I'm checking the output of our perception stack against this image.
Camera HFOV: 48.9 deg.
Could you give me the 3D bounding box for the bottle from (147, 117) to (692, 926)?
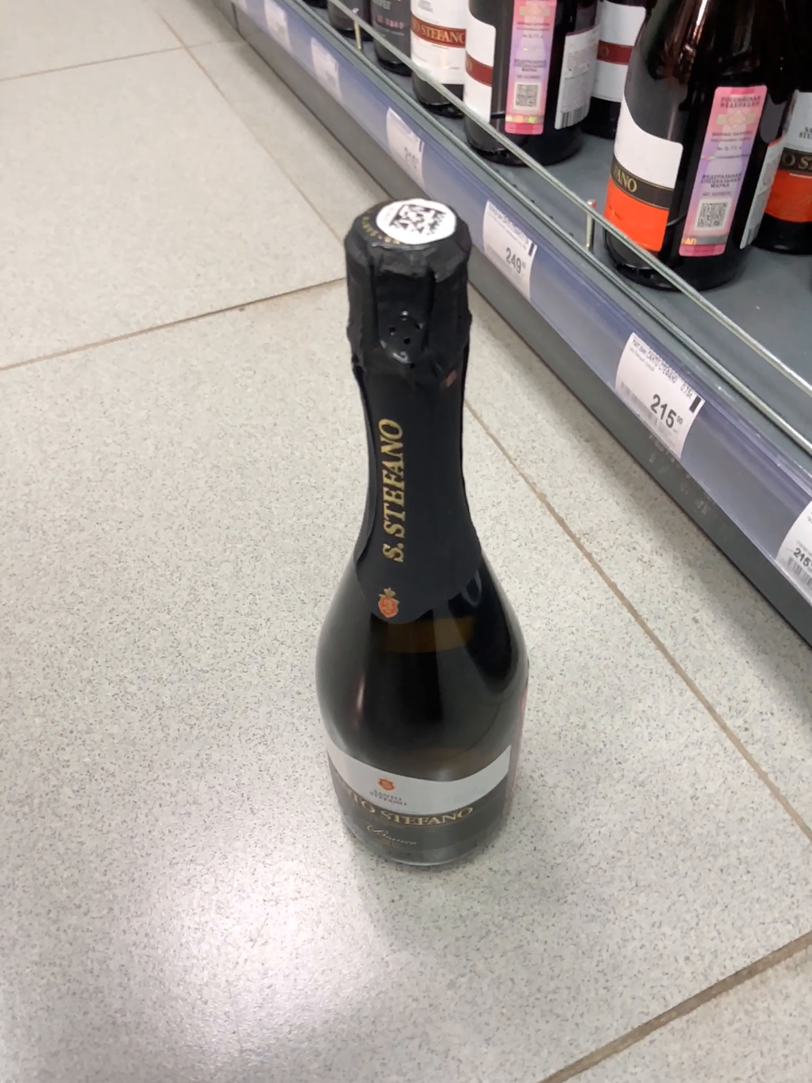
[{"bbox_3d":[0.012,0.020,0.339,0.110,0.298,0.100,-1,46,1],"label":"bottle"}]
